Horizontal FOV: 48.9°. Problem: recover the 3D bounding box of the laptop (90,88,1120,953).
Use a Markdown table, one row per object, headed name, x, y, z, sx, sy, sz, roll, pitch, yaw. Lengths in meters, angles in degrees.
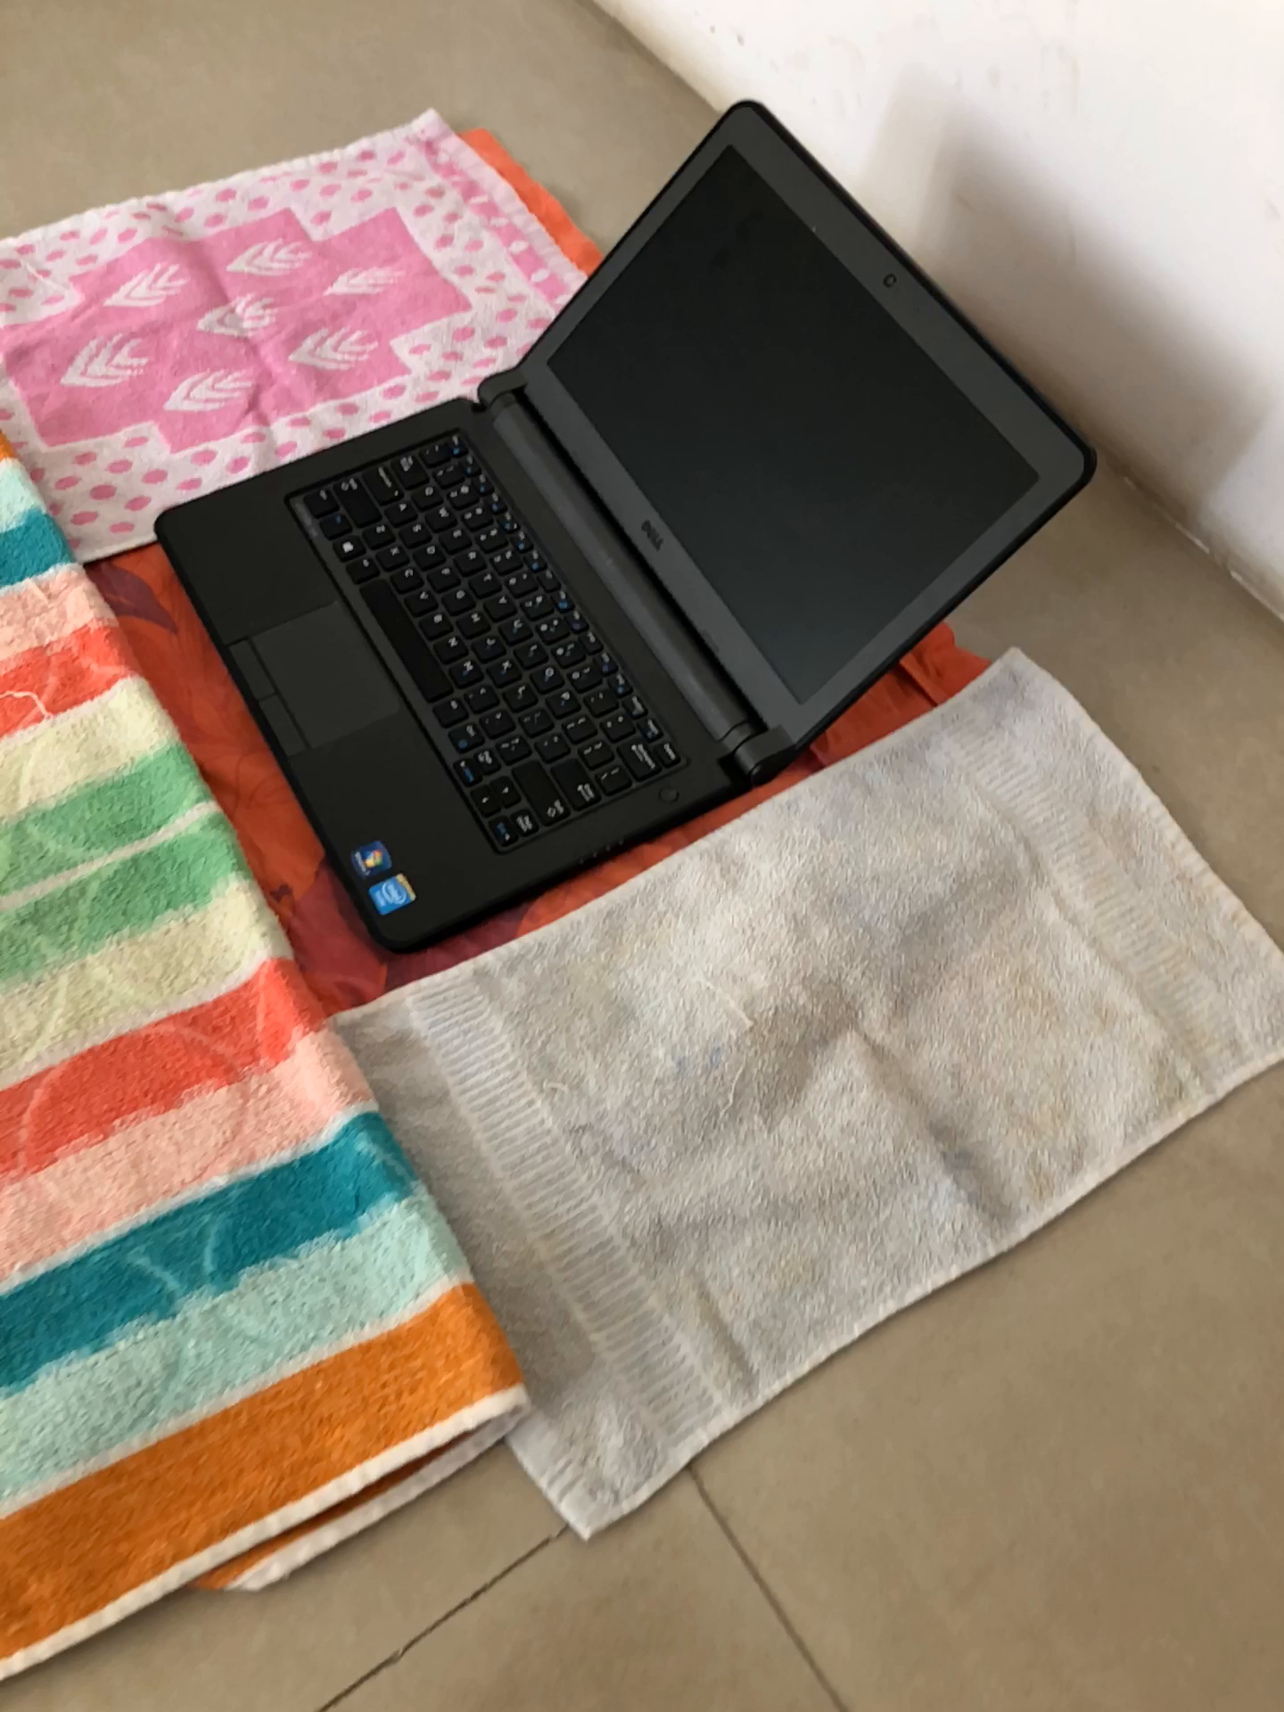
| name | x | y | z | sx | sy | sz | roll | pitch | yaw |
| --- | --- | --- | --- | --- | --- | --- | --- | --- | --- |
| laptop | -0.028 | -0.192 | 0.743 | 0.392 | 0.143 | 0.314 | -26 | 65 | -14 |
